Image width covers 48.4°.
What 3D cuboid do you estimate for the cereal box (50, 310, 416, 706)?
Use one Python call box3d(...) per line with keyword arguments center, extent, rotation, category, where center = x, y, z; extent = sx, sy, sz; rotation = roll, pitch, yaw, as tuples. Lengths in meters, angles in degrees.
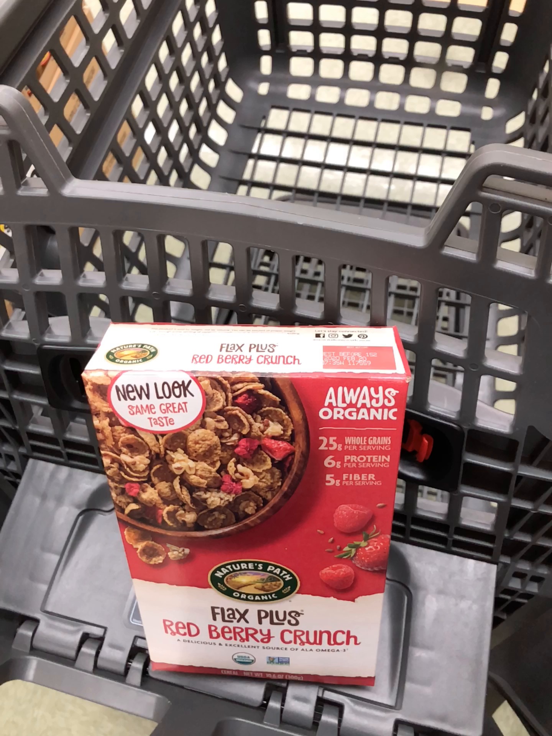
box3d(center=(-0.015, 0.094, 0.376), extent=(0.170, 0.250, 0.070), rotation=(2, 32, 6), category="cereal box")
